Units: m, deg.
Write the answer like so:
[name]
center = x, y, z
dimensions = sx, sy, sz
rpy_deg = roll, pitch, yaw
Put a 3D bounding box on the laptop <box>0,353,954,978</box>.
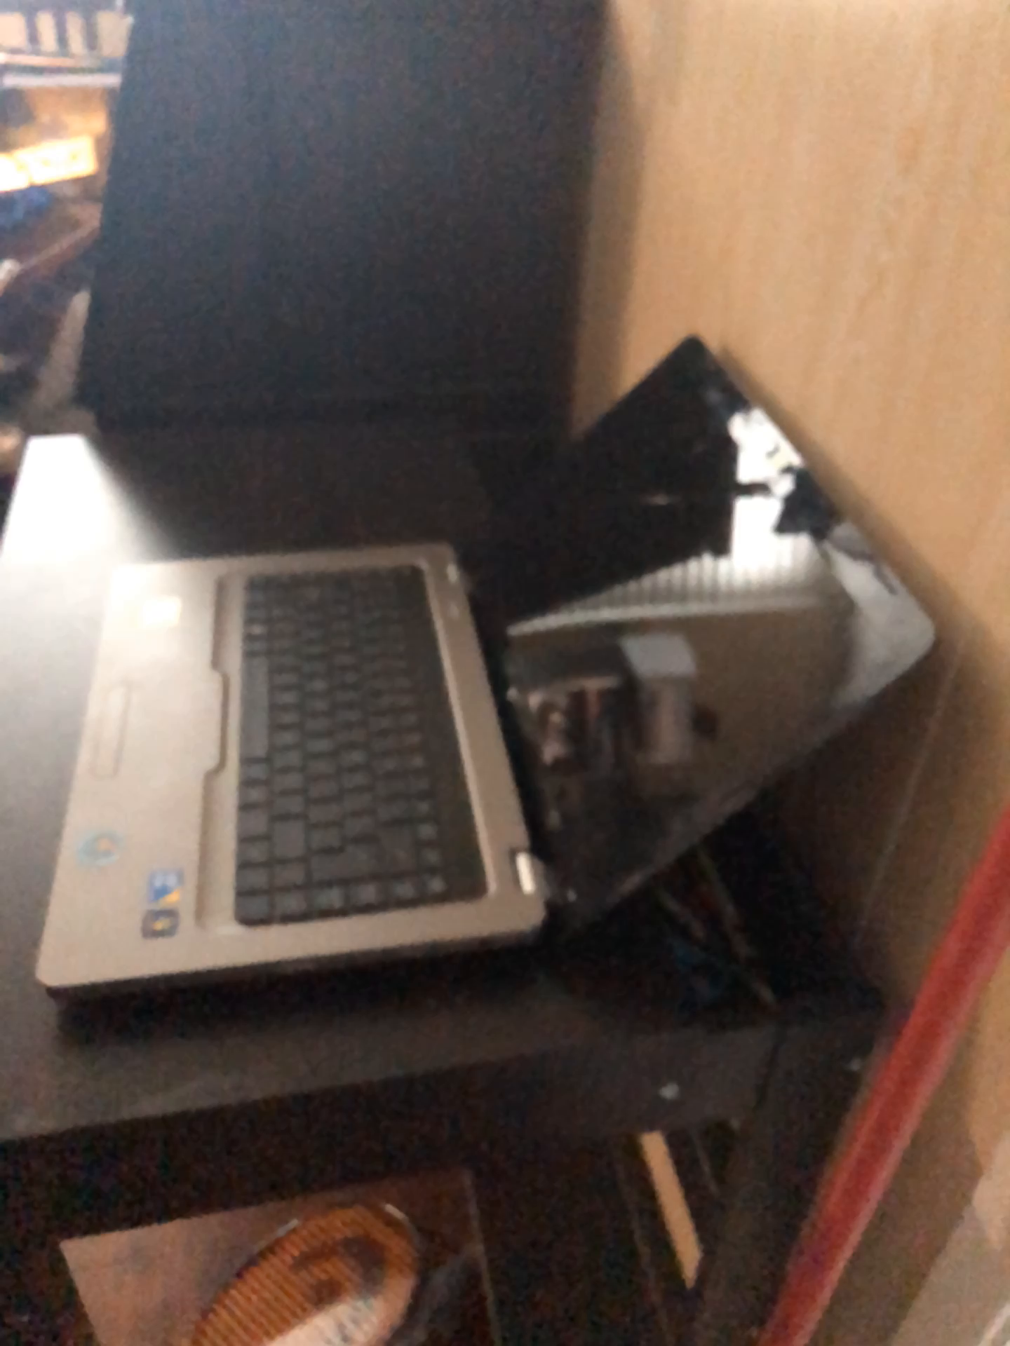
[laptop]
center = -0.035, -0.039, 0.657
dimensions = 0.401, 0.166, 0.358
rpy_deg = -4, 36, -9
